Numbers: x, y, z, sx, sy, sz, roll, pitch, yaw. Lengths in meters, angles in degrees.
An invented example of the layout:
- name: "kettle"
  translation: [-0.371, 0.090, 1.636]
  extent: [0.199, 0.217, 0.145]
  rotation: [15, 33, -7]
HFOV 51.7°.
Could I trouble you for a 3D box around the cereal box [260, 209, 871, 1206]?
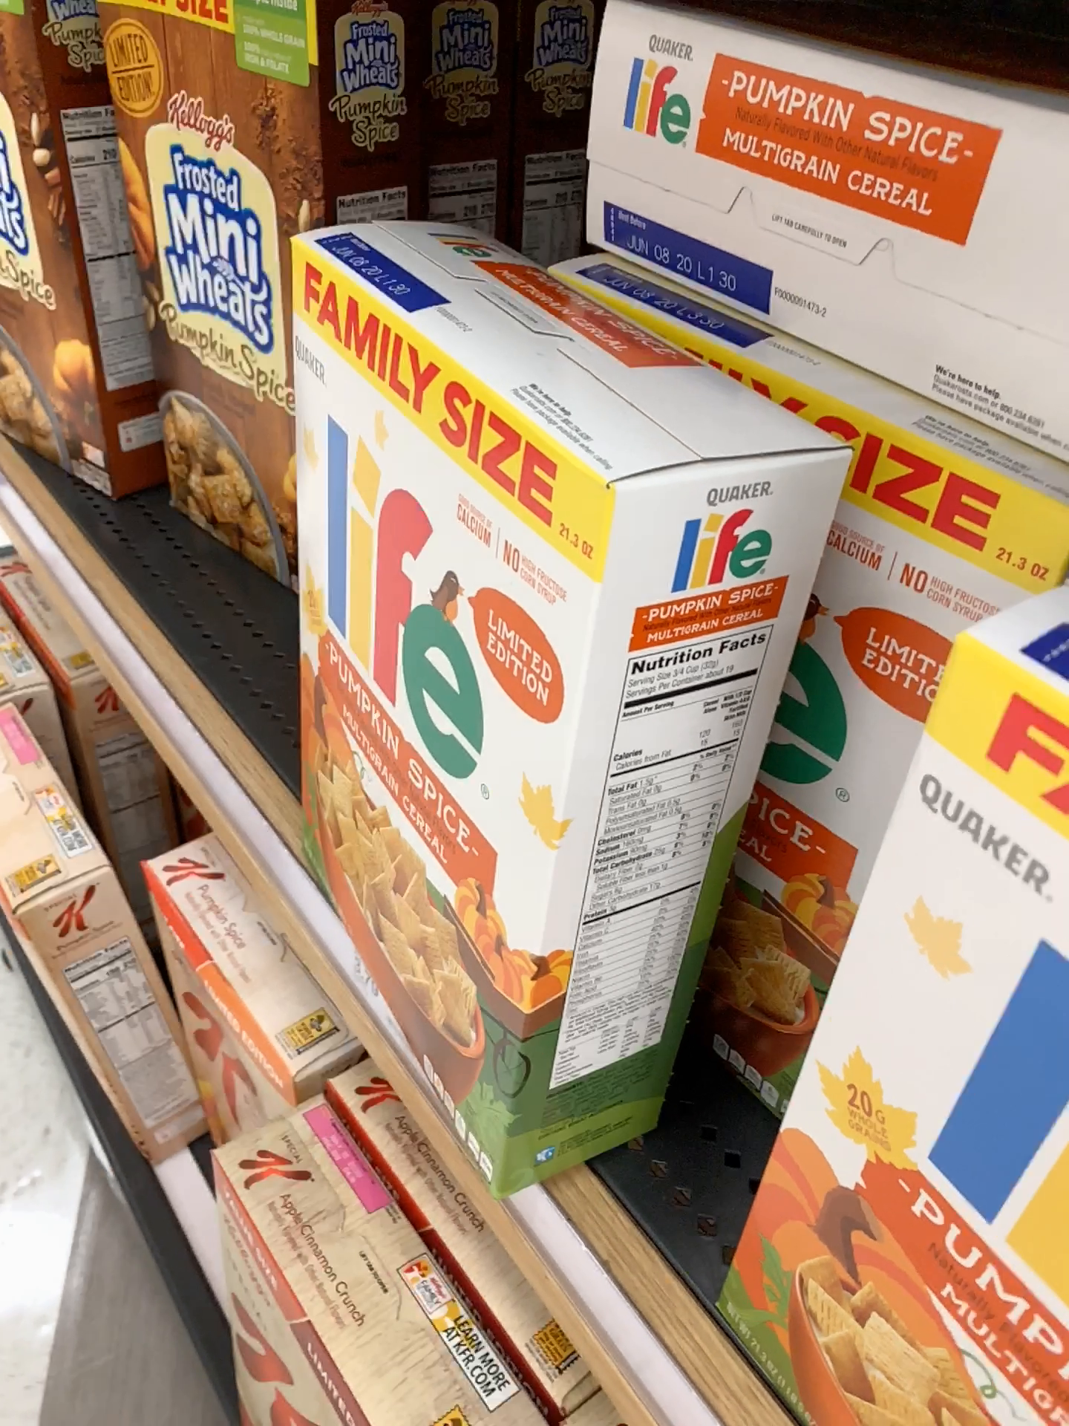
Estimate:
- name: "cereal box"
  translation: [-0.023, -0.006, 0.363]
  extent: [0.070, 0.249, 0.201]
  rotation: [-13, 42, -28]
